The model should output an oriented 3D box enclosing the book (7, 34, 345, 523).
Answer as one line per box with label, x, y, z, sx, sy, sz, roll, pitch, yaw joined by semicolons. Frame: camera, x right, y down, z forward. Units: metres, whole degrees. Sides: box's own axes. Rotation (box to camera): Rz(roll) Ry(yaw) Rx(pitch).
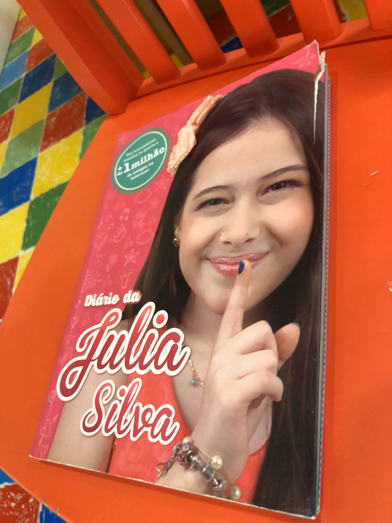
book;-0.007;-0.008;0.250;0.171;0.020;0.241;-7;60;32
